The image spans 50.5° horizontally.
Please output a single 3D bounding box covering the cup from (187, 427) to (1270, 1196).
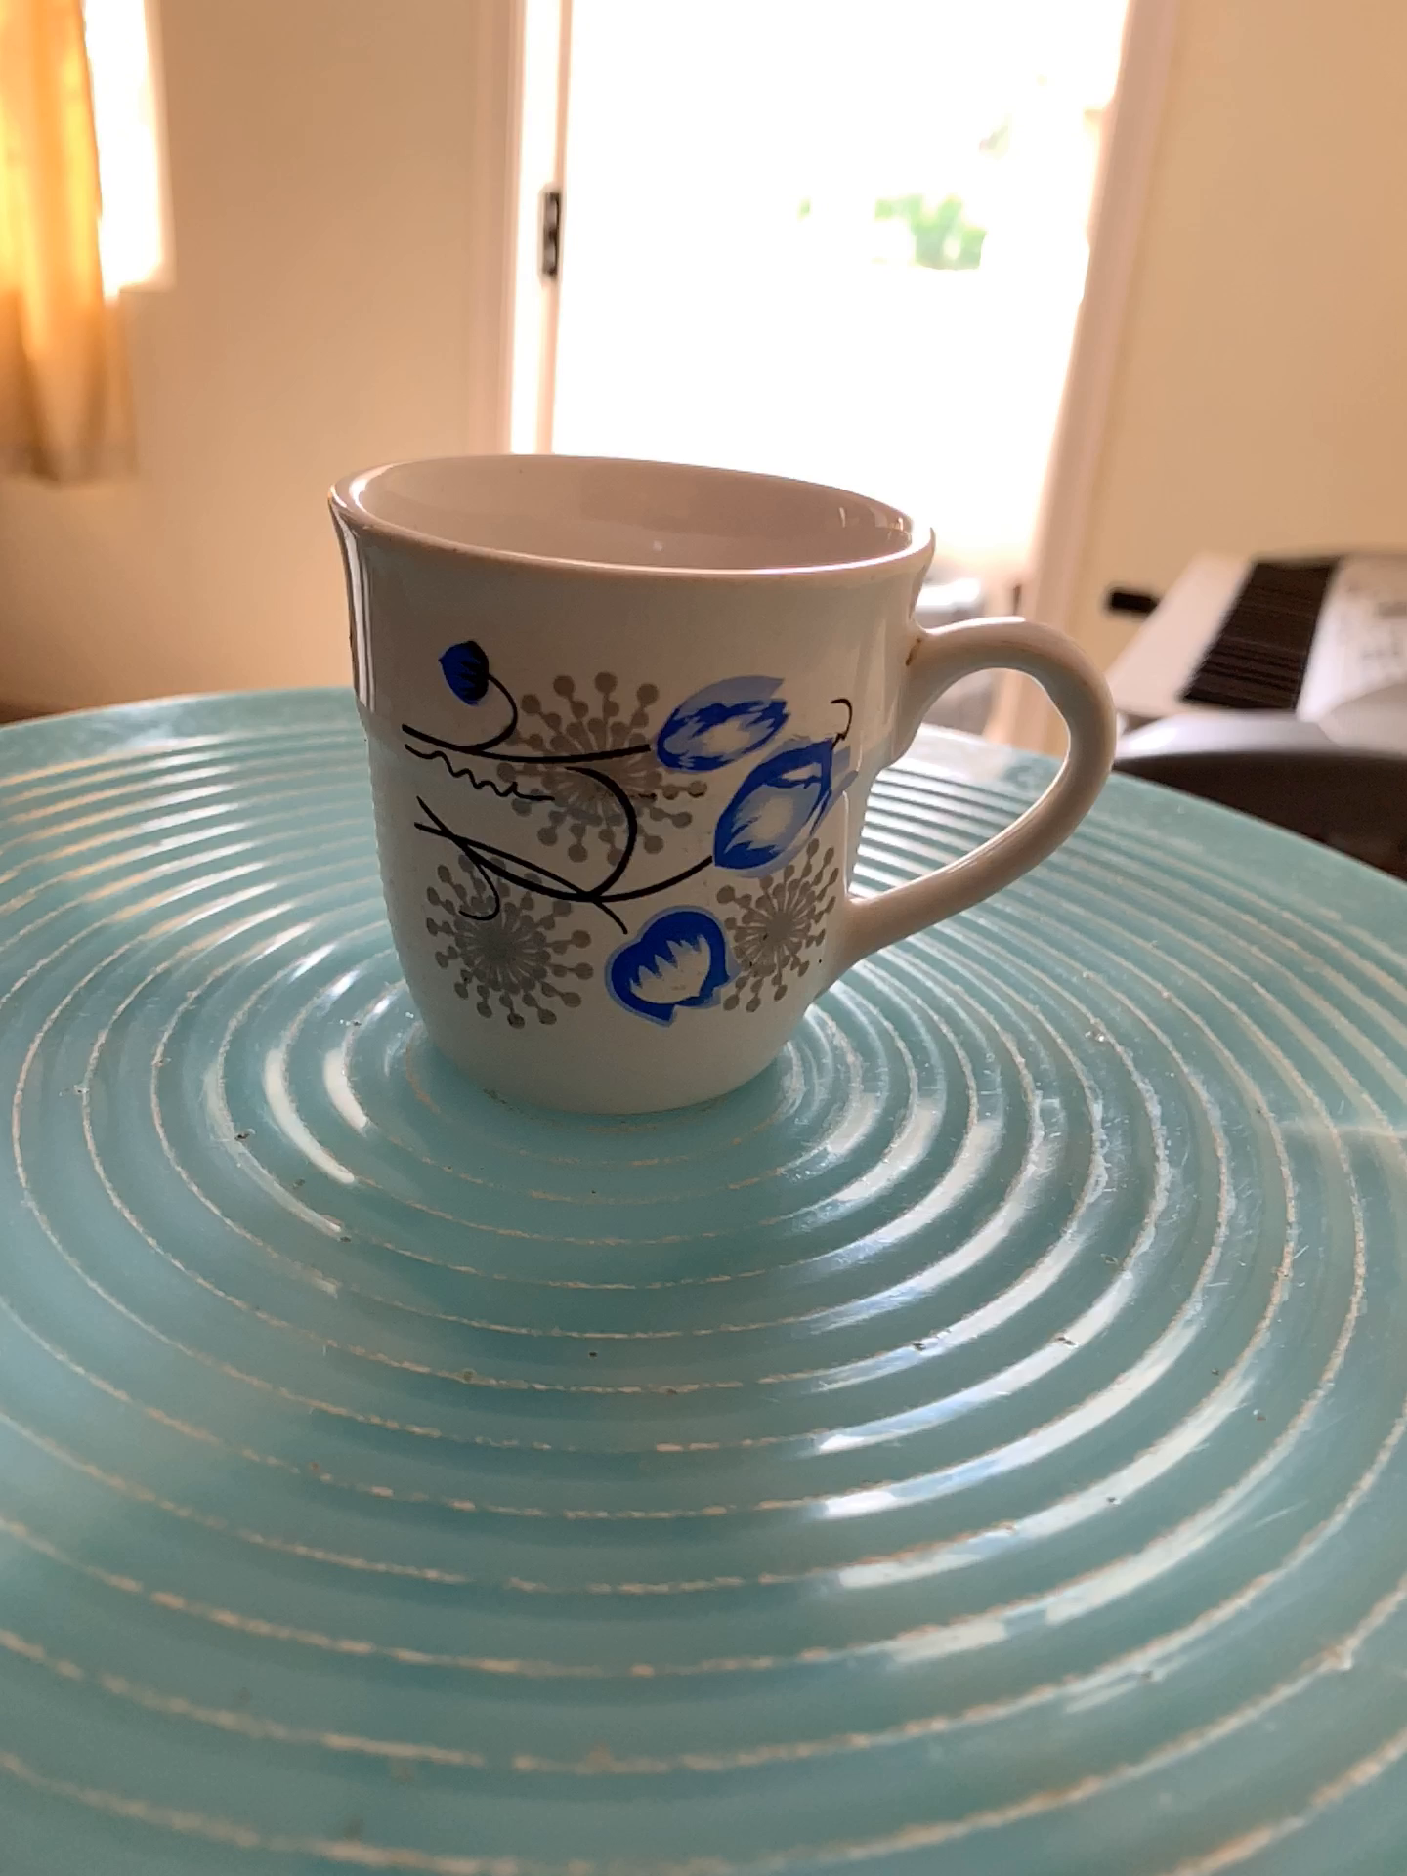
[{"bbox_3d":[-0.001,-0.018,0.167,0.090,0.060,0.071,3,25,-5],"label":"cup"}]
